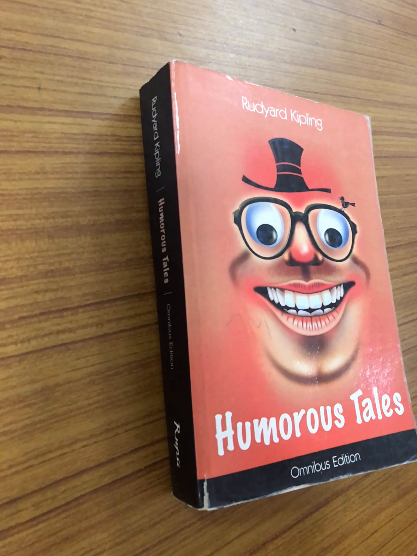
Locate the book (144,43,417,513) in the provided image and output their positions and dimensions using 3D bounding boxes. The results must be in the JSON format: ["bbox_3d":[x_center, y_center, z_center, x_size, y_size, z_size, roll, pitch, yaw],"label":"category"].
[{"bbox_3d":[0.042,-0.004,0.232,0.130,0.040,0.190,-1,81,-26],"label":"book"}]
